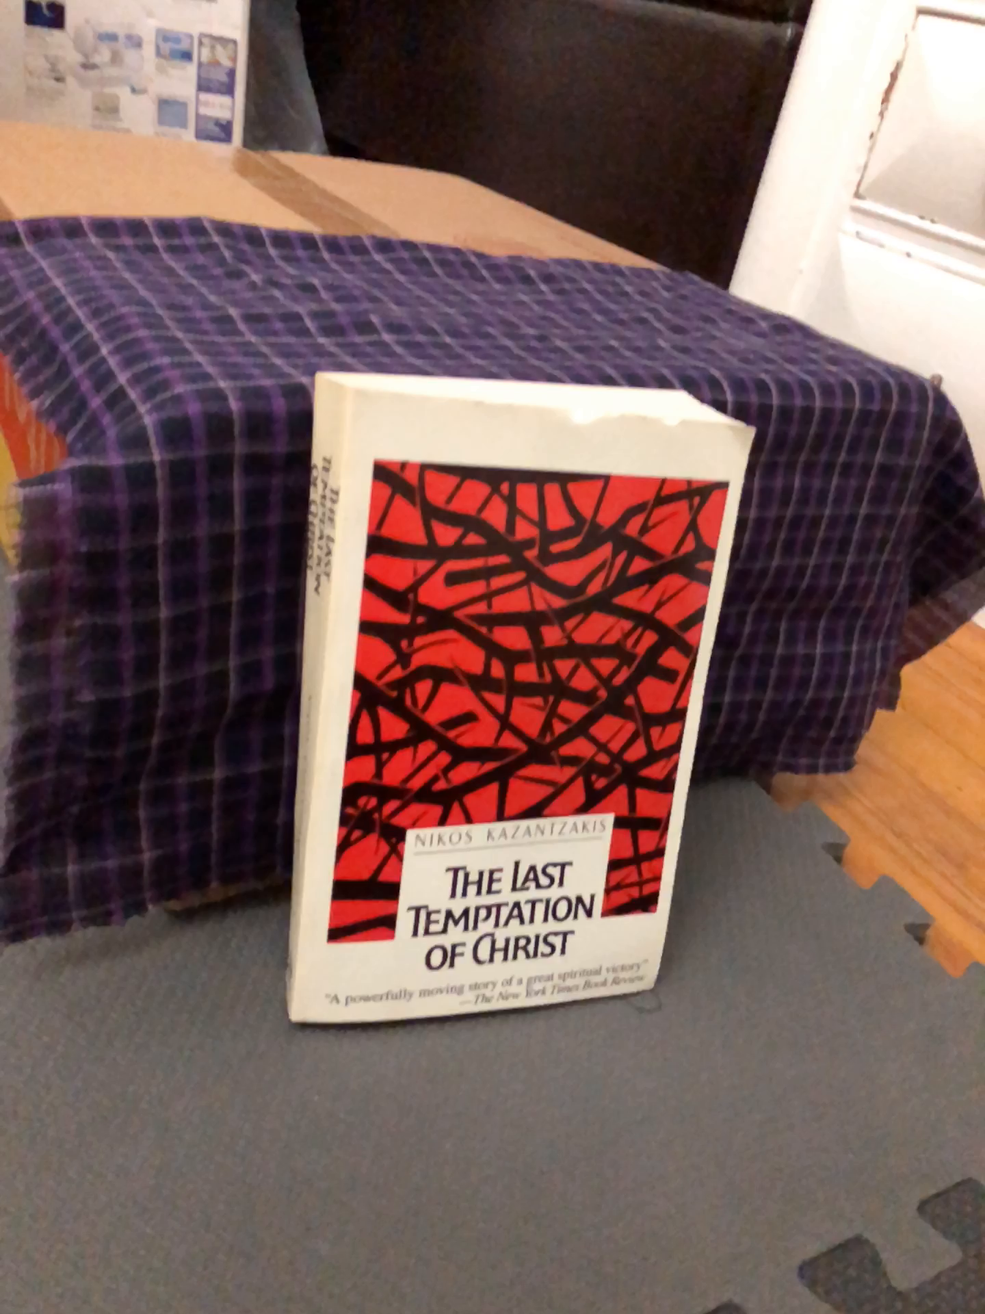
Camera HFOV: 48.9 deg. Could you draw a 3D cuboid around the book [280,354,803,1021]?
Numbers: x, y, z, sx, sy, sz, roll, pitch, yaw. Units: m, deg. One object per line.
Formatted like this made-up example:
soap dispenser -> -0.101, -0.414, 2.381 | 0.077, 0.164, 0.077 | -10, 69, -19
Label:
book -> 0.007, 0.013, 0.364 | 0.150, 0.209, 0.050 | -1, 21, -14
